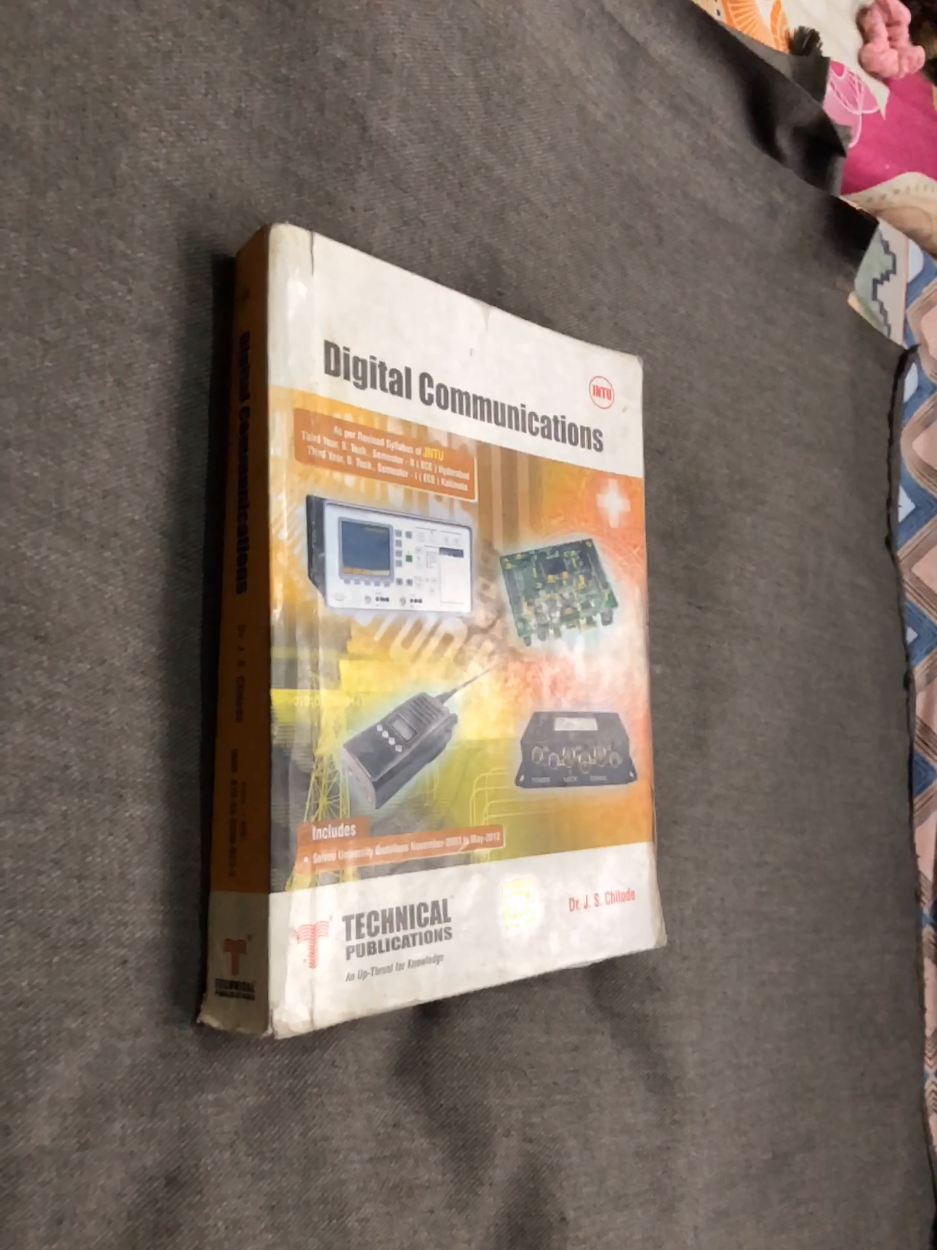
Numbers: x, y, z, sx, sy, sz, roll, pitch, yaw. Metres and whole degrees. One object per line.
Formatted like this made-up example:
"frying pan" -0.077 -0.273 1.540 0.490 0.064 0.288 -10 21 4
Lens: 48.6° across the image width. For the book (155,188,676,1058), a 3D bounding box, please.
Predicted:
"book" -0.008 0.003 0.363 0.182 0.050 0.241 6 80 -41
